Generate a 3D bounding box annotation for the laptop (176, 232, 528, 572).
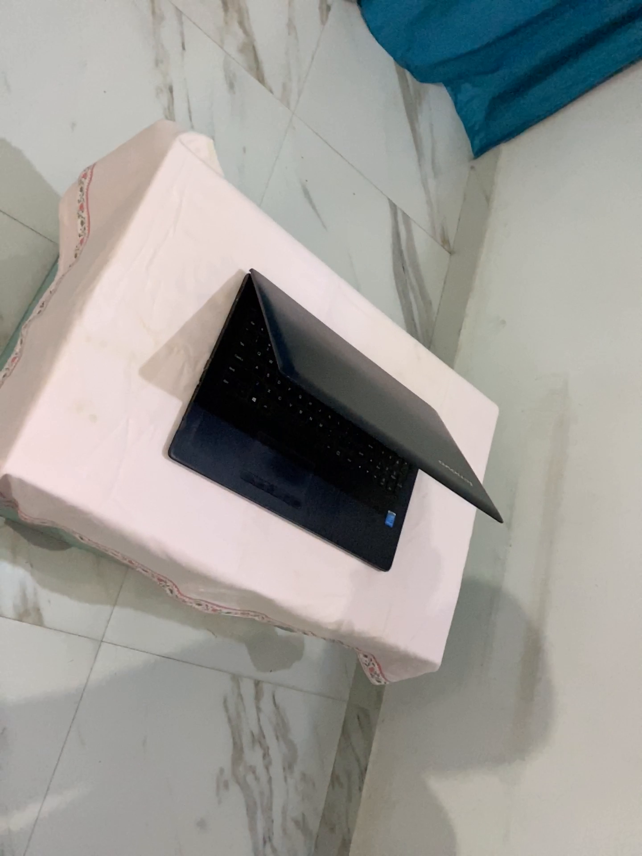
[{"bbox_3d":[0.060,-0.008,0.834,0.370,0.176,0.258,33,65,-32],"label":"laptop"}]
